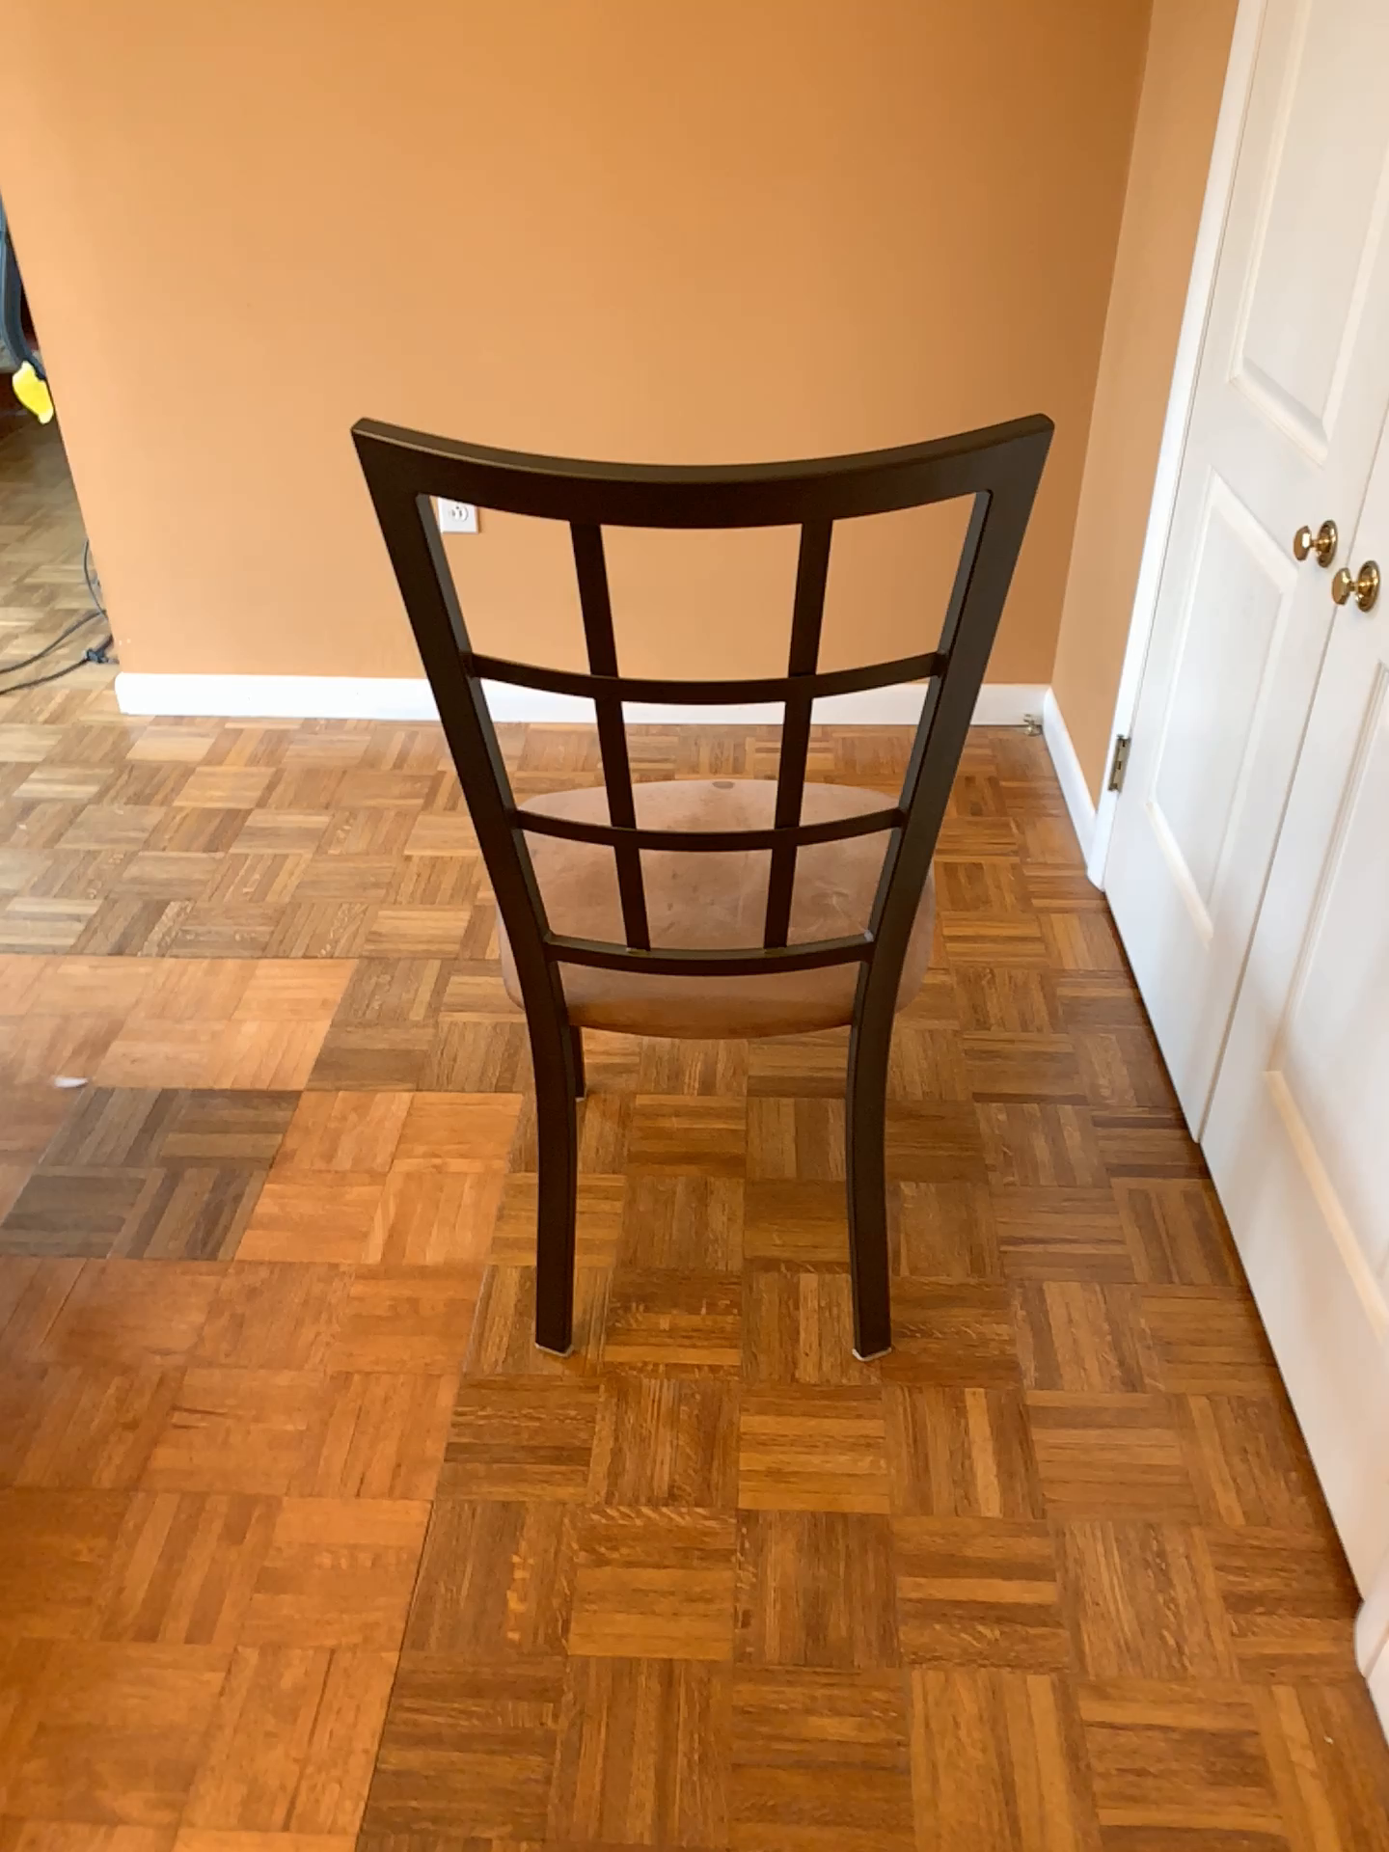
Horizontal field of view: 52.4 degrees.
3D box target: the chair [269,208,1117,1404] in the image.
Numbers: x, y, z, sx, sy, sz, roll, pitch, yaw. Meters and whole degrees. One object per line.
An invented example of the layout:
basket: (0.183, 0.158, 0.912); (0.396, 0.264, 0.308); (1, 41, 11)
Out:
chair: (0.013, -0.101, 1.393); (0.510, 0.984, 0.624); (1, 37, 2)
